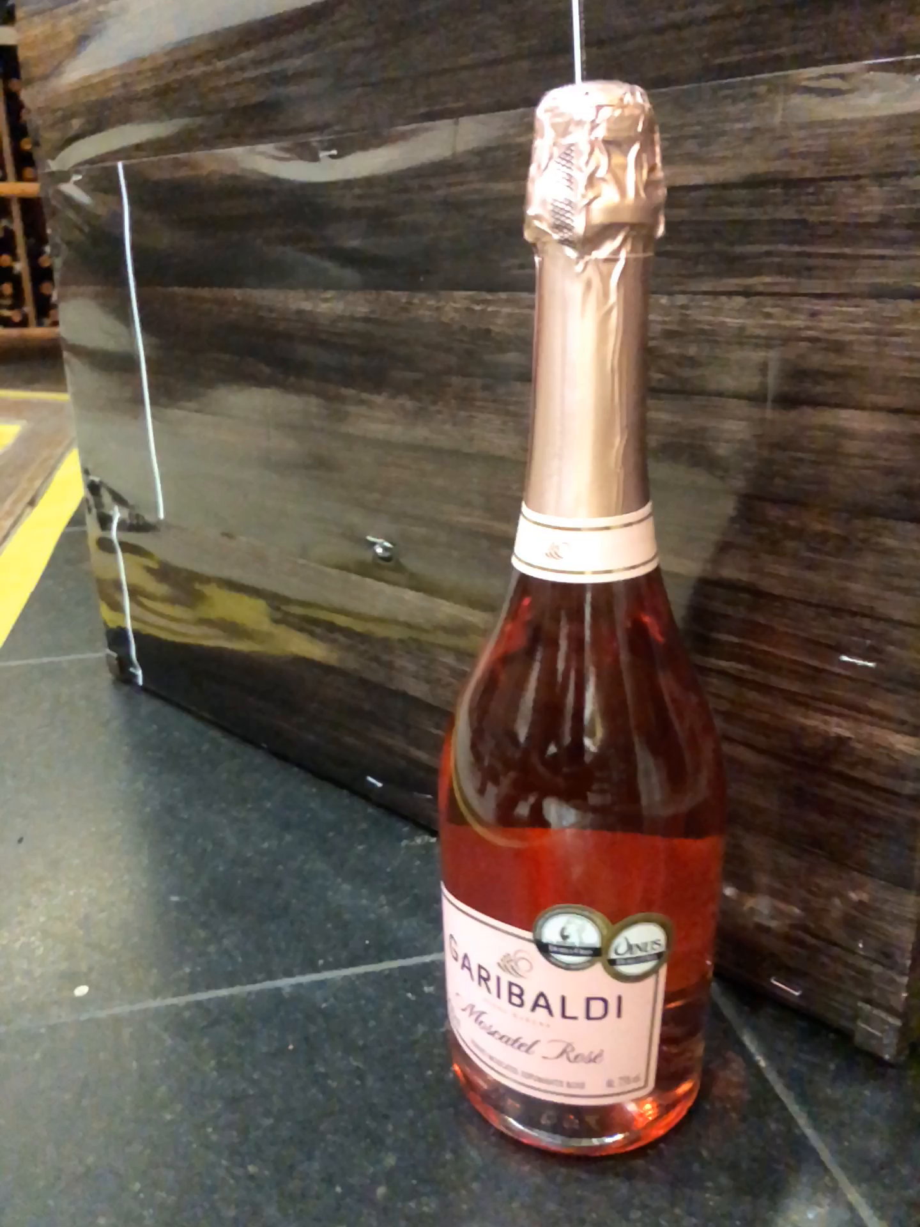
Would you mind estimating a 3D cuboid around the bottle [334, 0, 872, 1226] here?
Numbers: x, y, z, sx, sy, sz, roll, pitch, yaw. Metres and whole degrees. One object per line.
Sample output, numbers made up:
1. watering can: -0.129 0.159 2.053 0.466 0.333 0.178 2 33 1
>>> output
1. bottle: 0.044 0.006 0.326 0.110 0.338 0.100 -1 18 0
